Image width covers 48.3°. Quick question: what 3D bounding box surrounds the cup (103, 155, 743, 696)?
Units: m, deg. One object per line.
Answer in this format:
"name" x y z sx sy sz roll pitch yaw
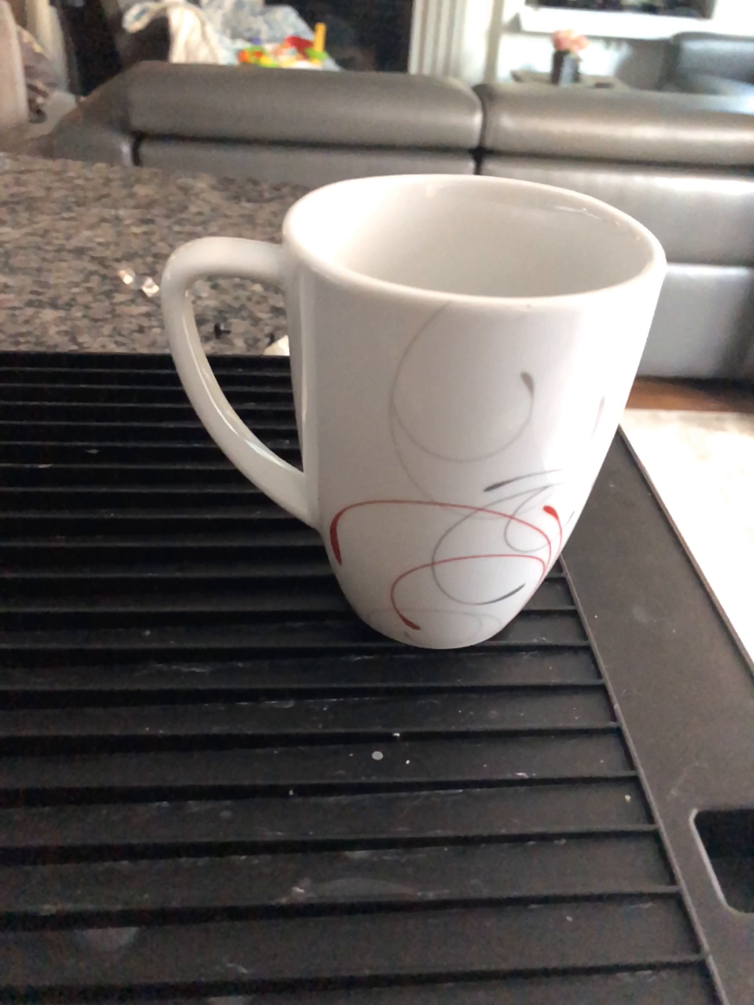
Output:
"cup" 0.004 -0.020 0.217 0.116 0.105 0.088 1 36 -6
